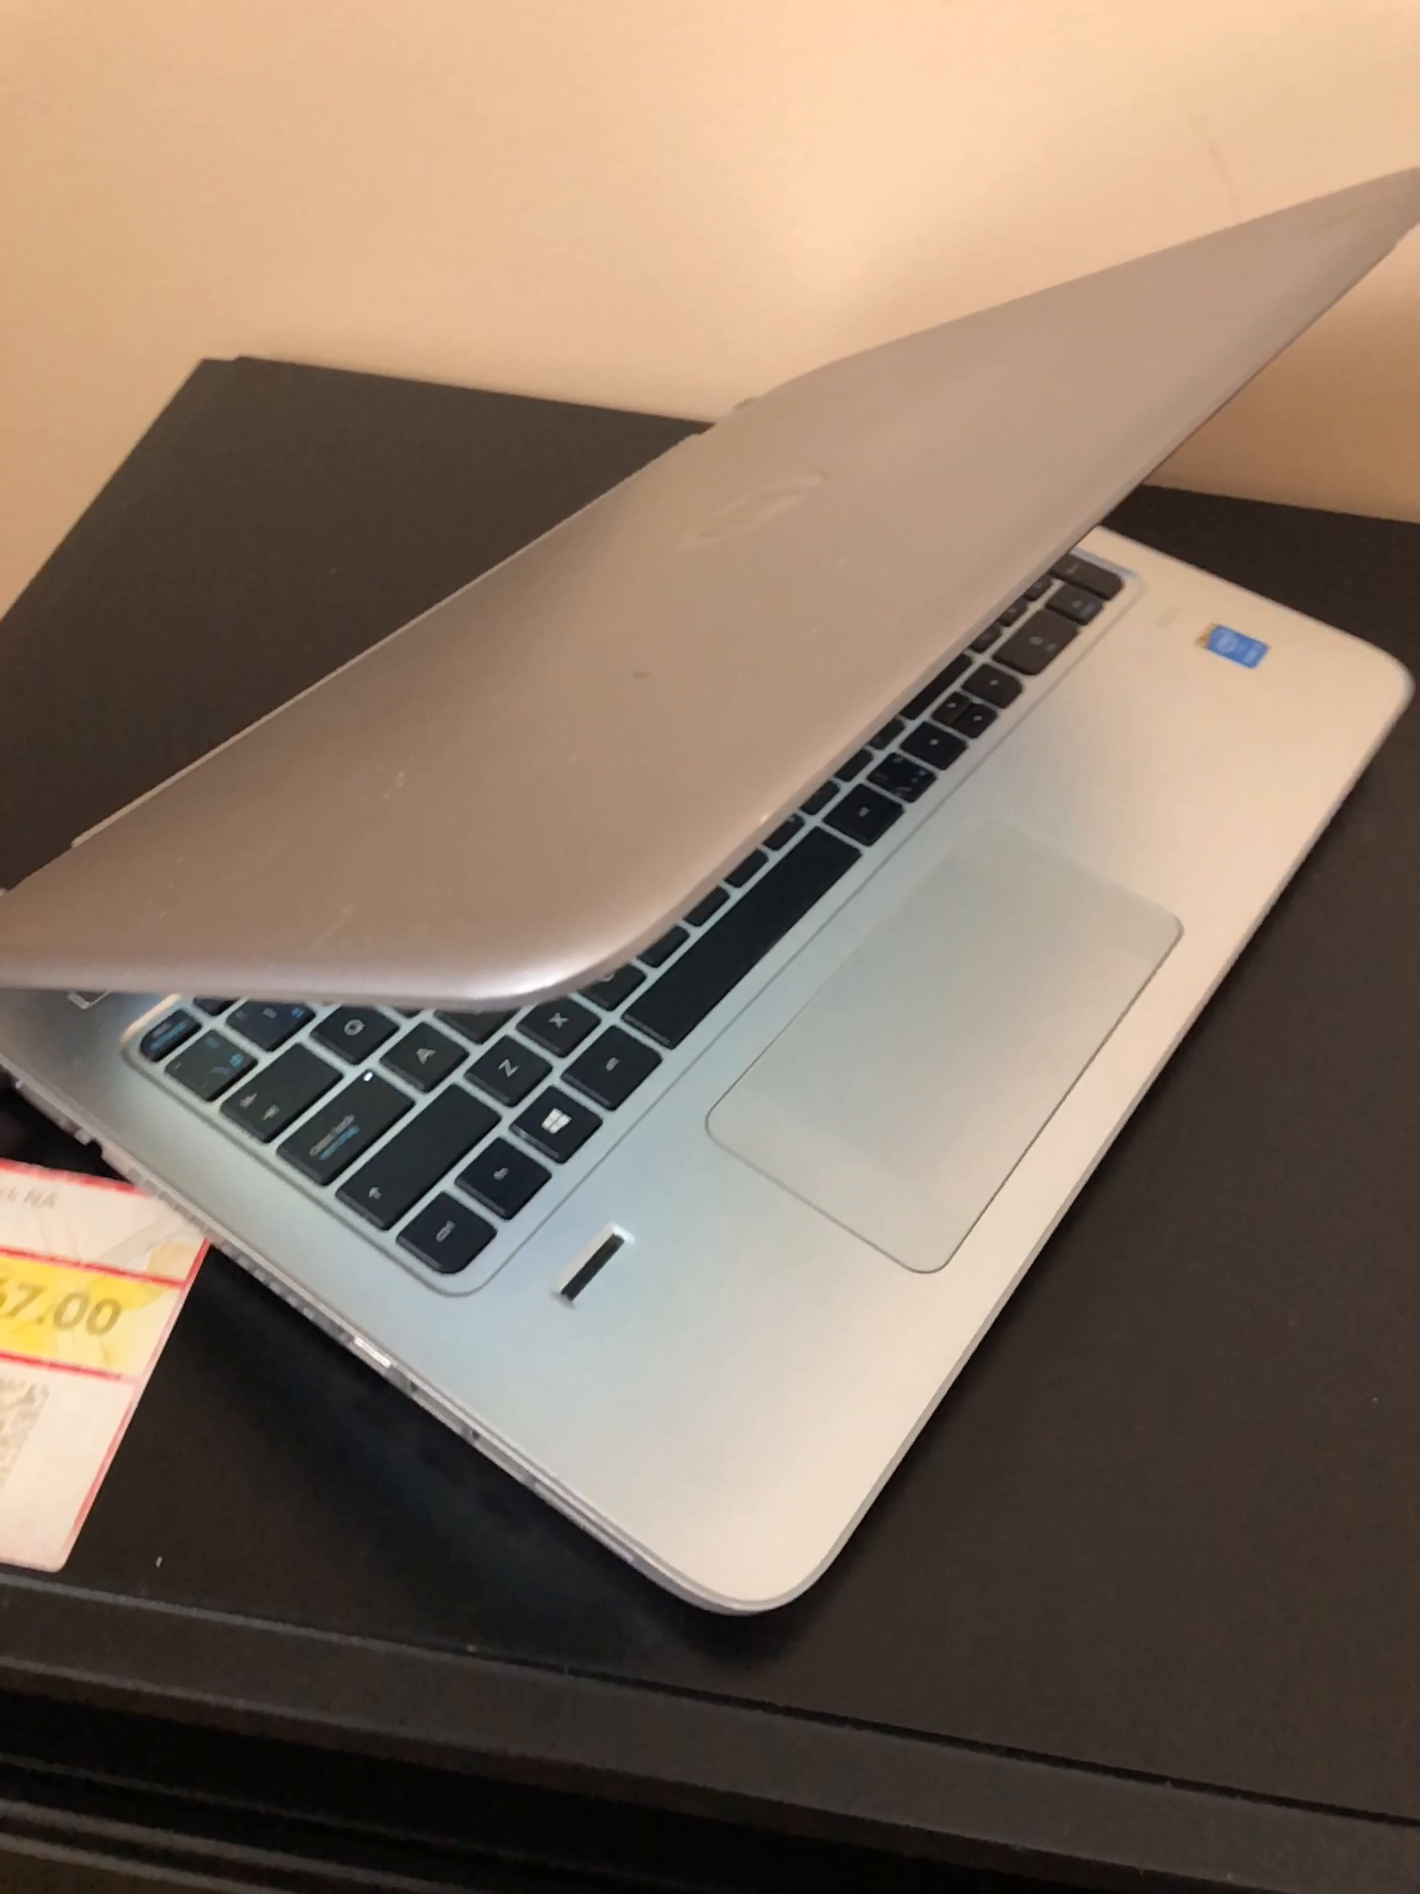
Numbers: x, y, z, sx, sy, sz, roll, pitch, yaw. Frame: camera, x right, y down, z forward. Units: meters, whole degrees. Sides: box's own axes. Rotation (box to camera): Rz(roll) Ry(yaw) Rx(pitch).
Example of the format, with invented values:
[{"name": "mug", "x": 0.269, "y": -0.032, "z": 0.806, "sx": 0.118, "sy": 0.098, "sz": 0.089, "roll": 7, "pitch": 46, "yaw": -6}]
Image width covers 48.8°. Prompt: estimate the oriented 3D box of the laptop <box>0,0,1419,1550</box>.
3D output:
[{"name": "laptop", "x": 0.021, "y": -0.089, "z": 0.384, "sx": 0.228, "sy": 0.153, "sz": 0.356, "roll": 29, "pitch": 52, "yaw": 20}]
